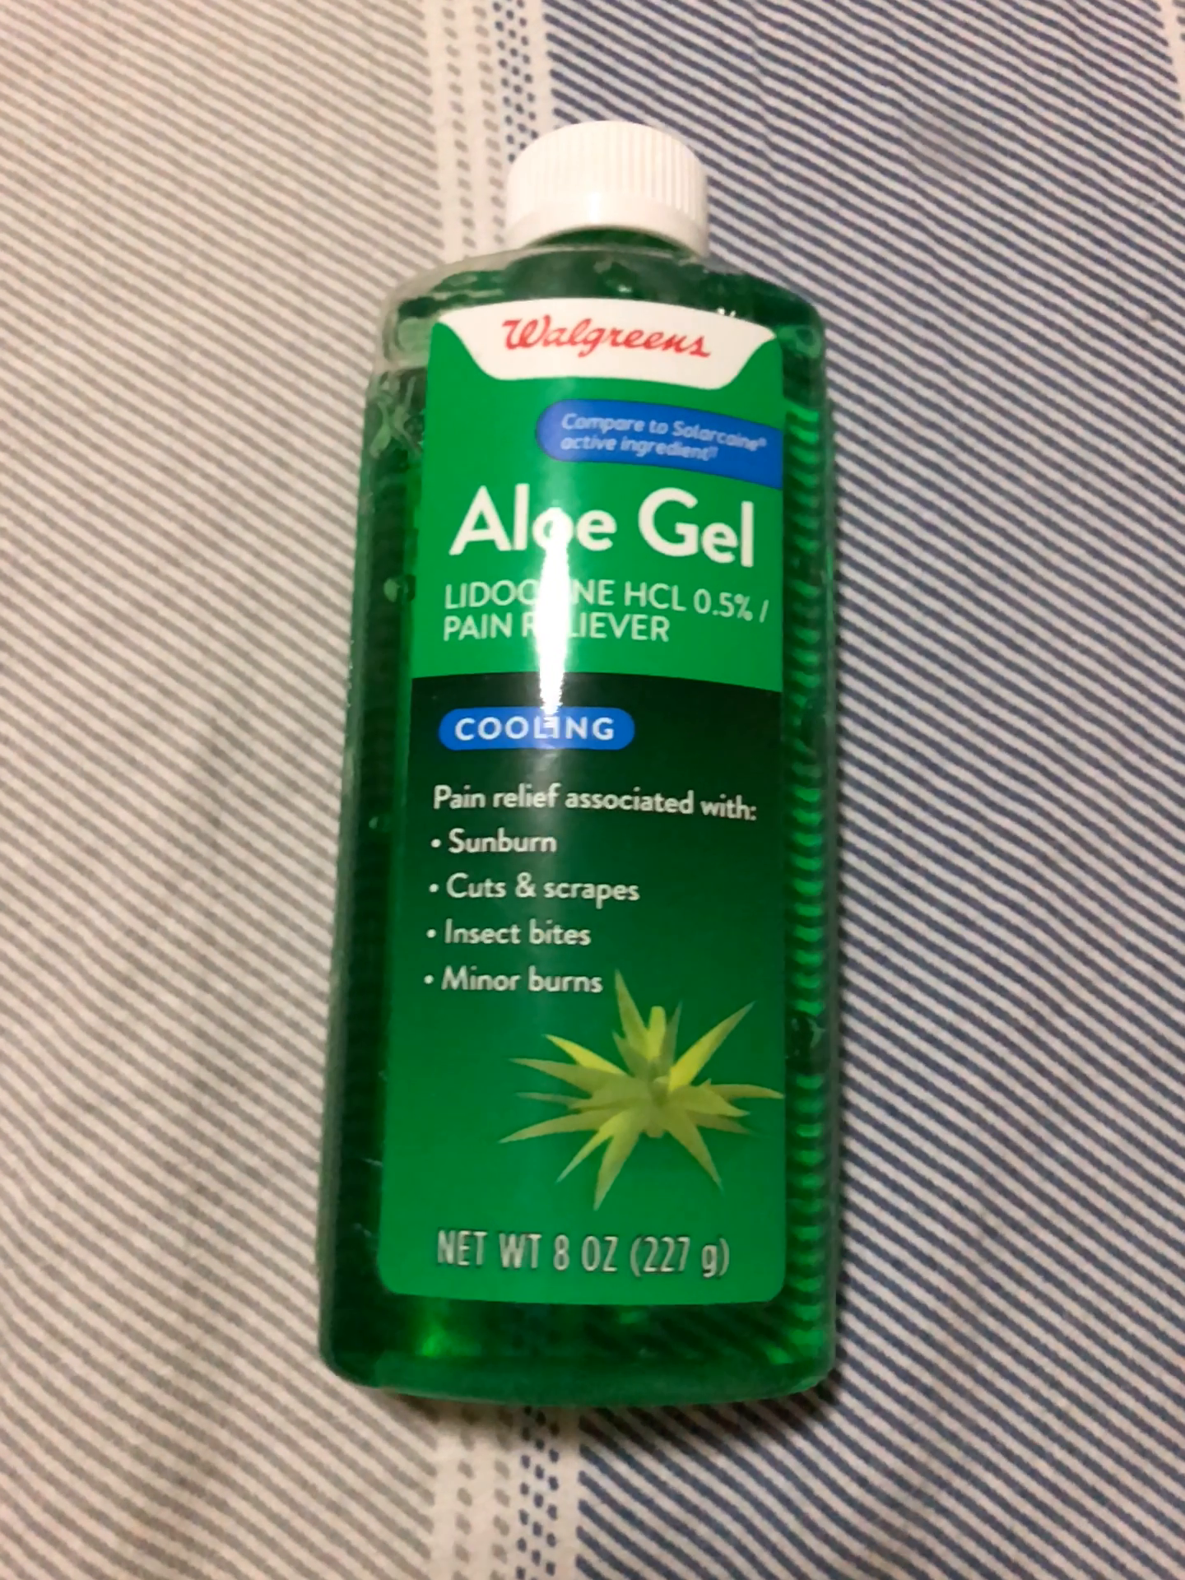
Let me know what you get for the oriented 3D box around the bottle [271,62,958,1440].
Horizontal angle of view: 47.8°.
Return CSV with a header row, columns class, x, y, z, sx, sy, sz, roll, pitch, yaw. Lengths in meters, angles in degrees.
class,x,y,z,sx,sy,sz,roll,pitch,yaw
bottle,0.005,-0.010,0.188,0.080,0.030,0.180,3,78,-6
